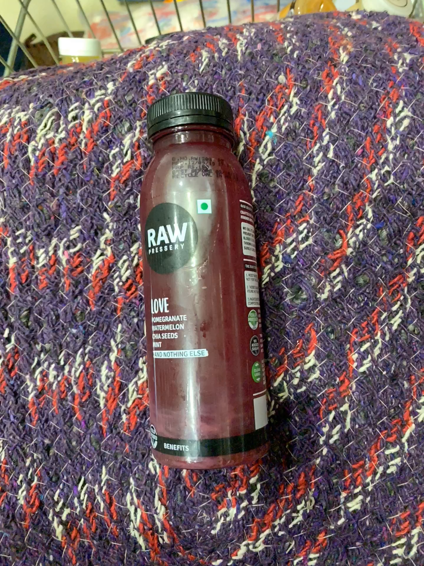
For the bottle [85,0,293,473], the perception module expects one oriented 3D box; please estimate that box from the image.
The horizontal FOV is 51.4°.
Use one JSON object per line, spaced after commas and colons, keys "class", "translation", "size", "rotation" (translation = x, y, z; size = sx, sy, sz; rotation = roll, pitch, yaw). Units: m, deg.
{"class": "bottle", "translation": [-0.010, -0.017, 0.195], "size": [0.060, 0.060, 0.170], "rotation": [-7, 82, 29]}
